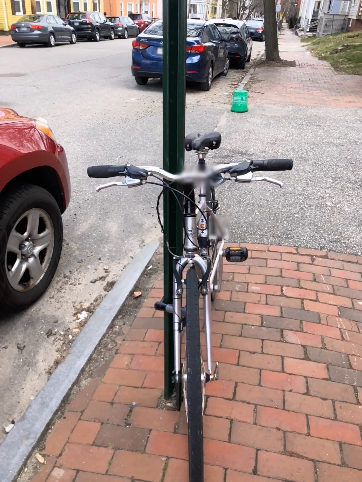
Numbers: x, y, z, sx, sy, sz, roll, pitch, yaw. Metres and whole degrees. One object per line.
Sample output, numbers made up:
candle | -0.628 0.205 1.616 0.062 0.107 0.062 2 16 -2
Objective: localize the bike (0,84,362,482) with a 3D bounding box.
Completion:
bike | 0.073 -0.011 1.521 0.608 1.011 1.568 5 23 3
